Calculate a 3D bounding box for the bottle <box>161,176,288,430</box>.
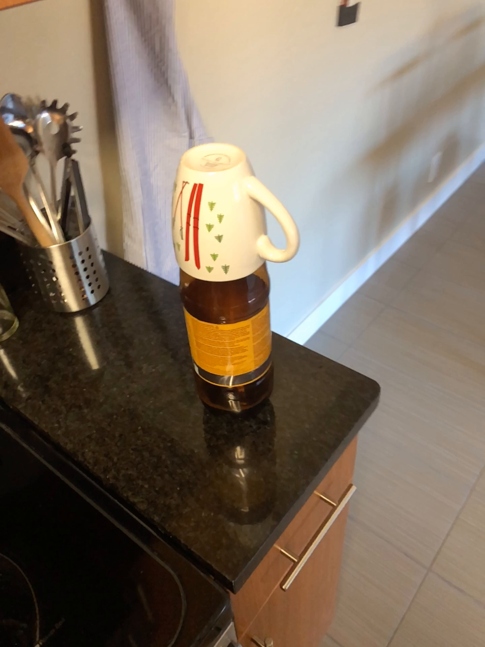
[{"bbox_3d":[-0.014,-0.014,0.636,0.100,0.279,0.100,-3,41,2],"label":"bottle"}]
